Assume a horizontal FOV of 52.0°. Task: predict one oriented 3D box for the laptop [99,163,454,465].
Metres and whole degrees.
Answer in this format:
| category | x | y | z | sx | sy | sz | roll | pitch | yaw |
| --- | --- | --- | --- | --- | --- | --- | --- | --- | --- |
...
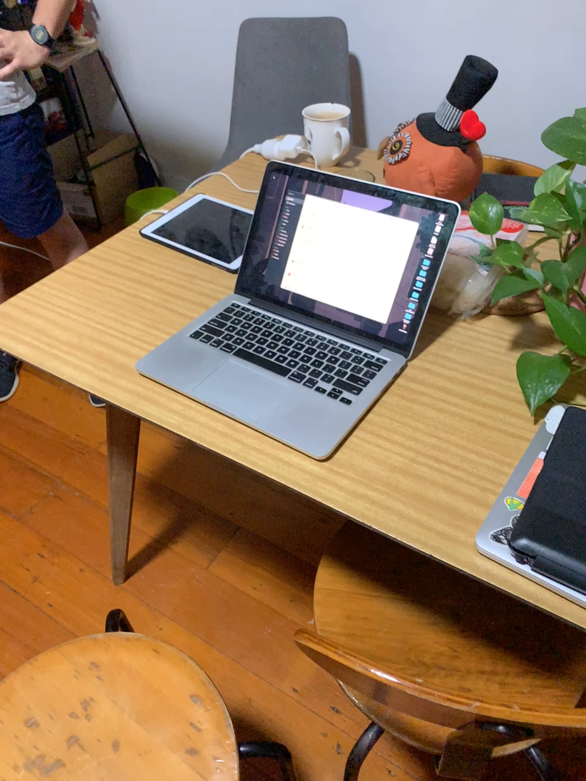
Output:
| category | x | y | z | sx | sy | sz | roll | pitch | yaw |
| --- | --- | --- | --- | --- | --- | --- | --- | --- | --- |
| laptop | -0.007 | -0.112 | 0.677 | 0.264 | 0.144 | 0.288 | 24 | 48 | 28 |
